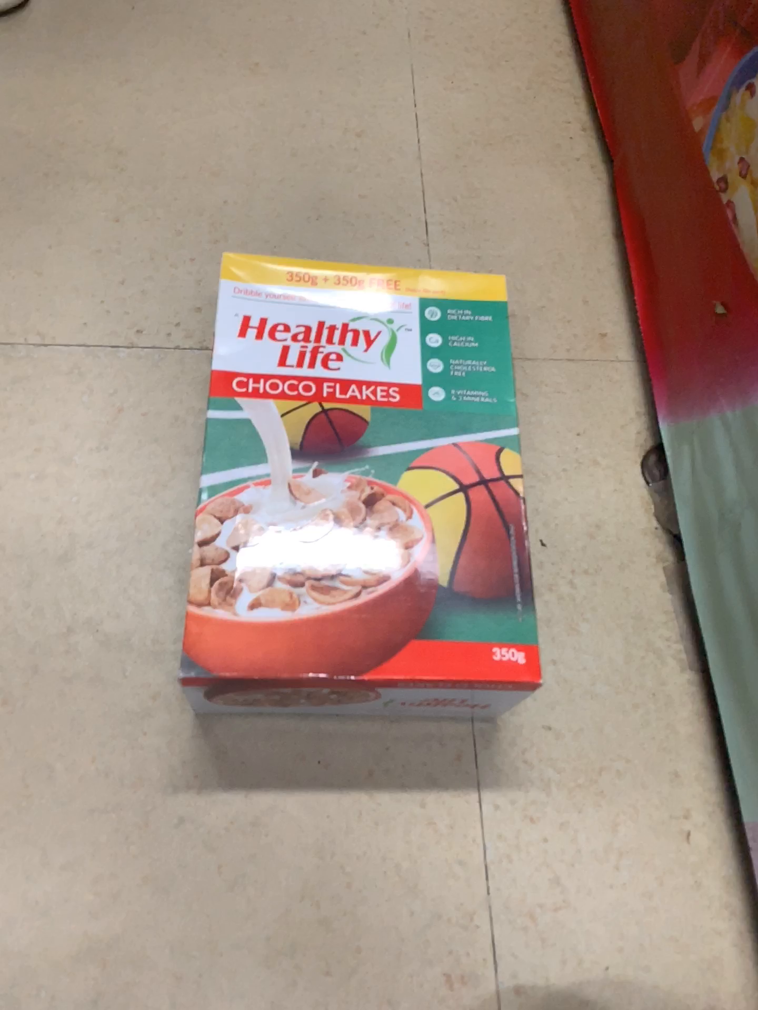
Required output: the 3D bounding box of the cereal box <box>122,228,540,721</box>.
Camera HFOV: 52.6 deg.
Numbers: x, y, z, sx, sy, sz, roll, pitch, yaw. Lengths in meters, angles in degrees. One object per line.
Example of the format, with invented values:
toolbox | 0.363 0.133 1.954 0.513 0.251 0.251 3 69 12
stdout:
cereal box | -0.028 -0.019 0.477 0.200 0.110 0.280 2 64 -6
